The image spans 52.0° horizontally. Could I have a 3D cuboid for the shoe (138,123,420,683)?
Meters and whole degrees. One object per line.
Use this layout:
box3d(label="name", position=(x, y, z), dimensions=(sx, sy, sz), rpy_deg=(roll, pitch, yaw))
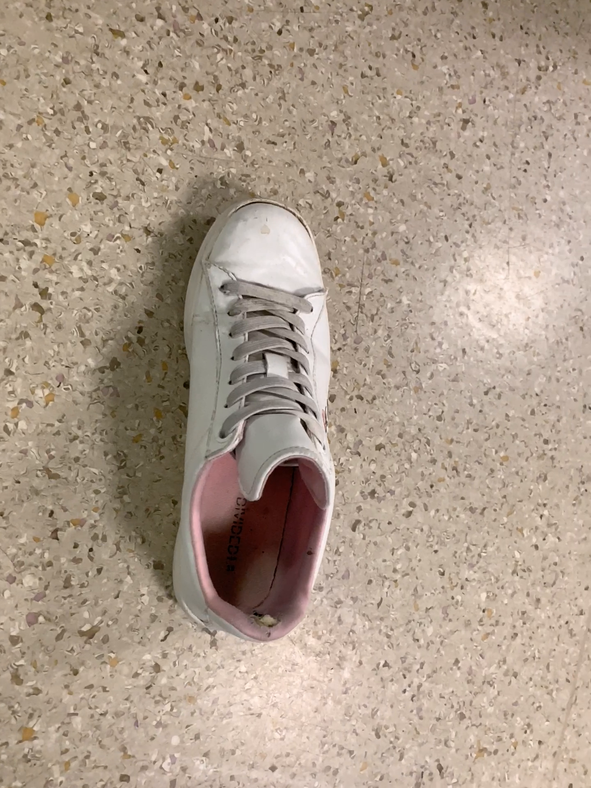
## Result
box3d(label="shoe", position=(-0.011, 0.007, 0.336), dimensions=(0.098, 0.092, 0.255), rpy_deg=(9, 84, -25))
